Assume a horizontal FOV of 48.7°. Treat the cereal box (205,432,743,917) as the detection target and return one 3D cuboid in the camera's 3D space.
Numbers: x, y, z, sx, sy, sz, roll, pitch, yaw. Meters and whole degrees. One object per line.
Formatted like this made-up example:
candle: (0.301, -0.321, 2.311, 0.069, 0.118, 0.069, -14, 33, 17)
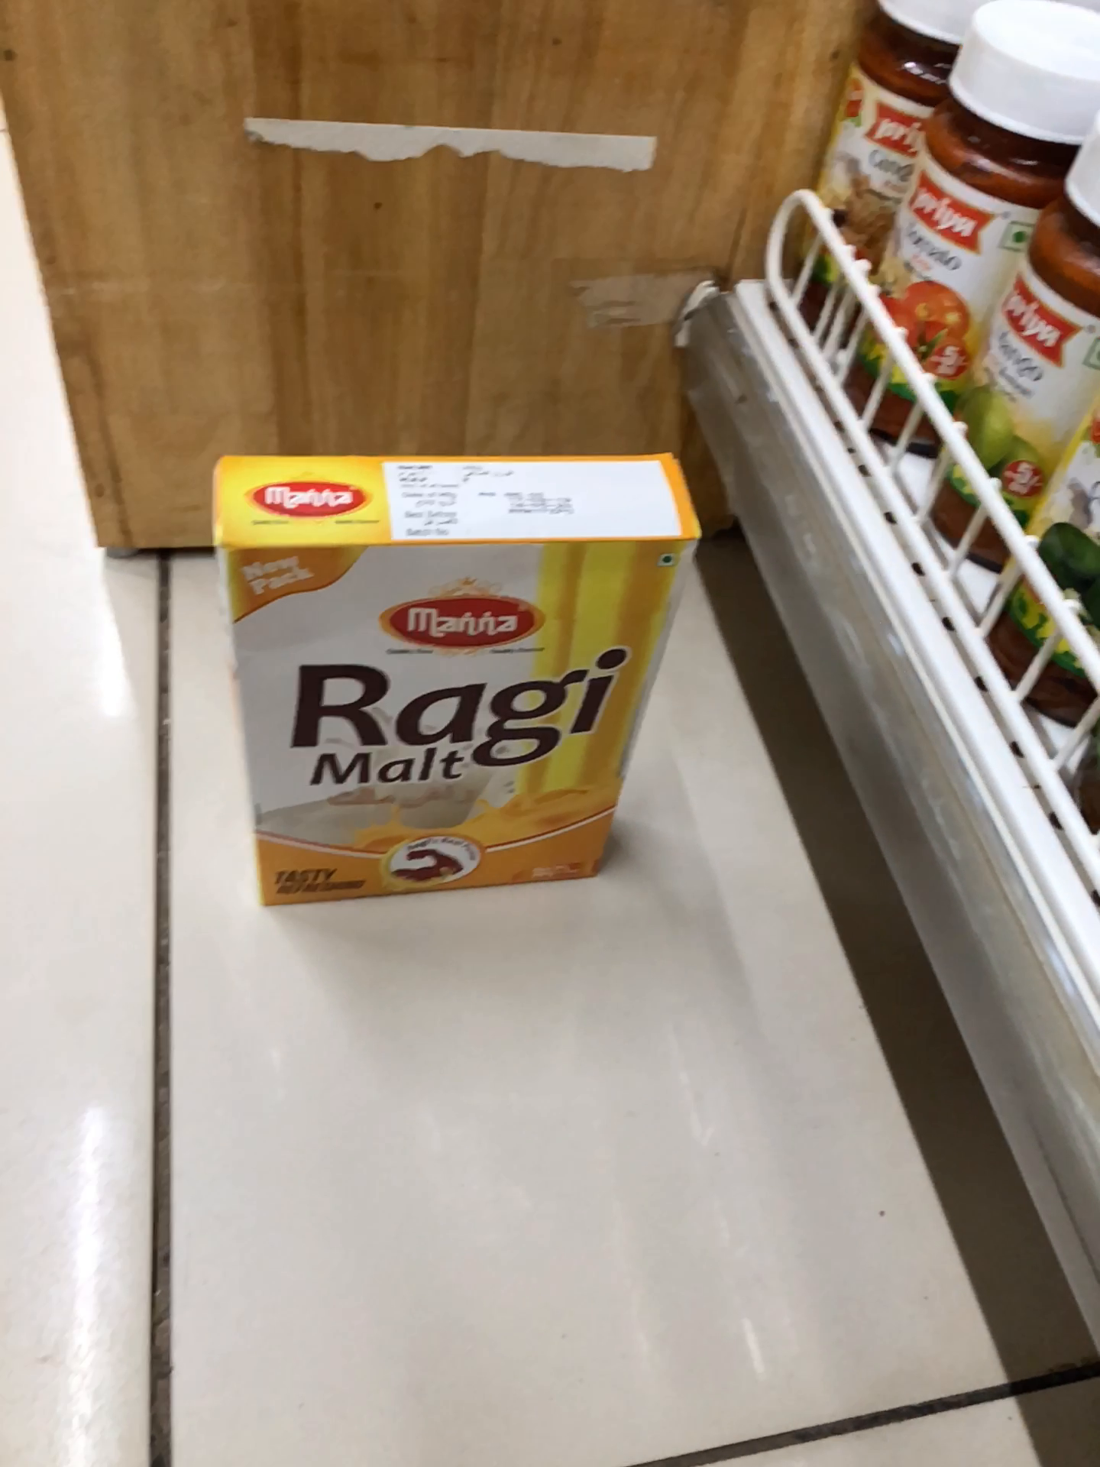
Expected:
cereal box: (-0.029, -0.011, 0.395, 0.140, 0.179, 0.040, -3, 50, -11)
